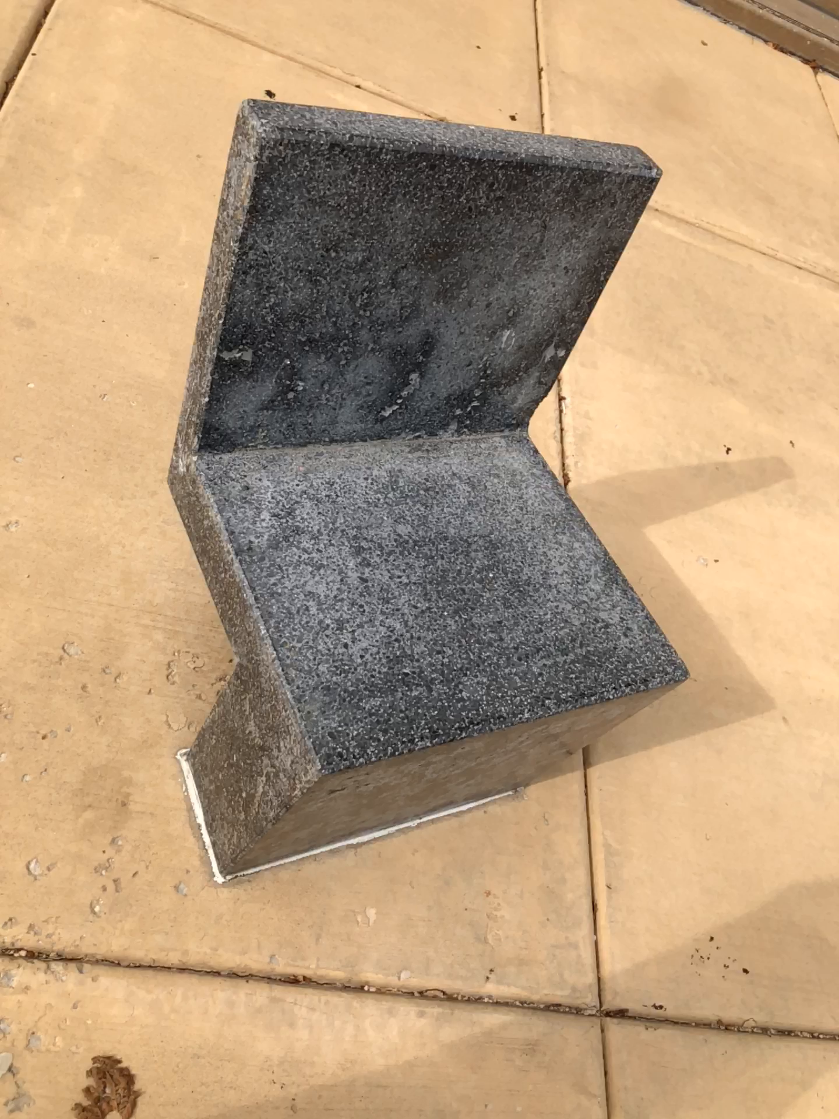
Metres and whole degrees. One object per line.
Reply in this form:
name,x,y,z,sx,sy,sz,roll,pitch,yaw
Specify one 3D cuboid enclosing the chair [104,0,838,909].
chair,0.028,-0.081,1.107,0.571,0.798,0.560,-7,55,-32
